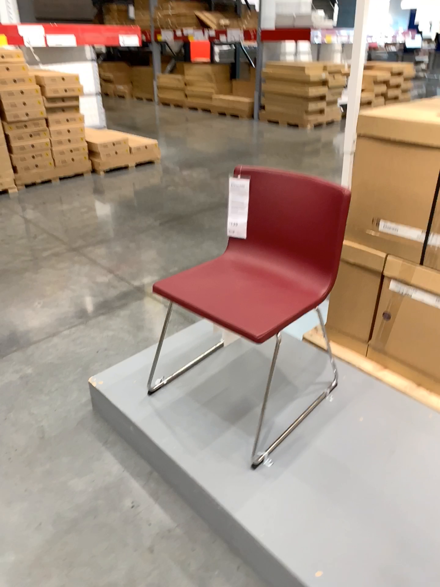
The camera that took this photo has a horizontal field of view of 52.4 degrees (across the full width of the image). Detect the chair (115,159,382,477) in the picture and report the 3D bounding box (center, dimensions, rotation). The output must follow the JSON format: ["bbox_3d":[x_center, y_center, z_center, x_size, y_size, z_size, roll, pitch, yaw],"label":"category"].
[{"bbox_3d":[0.088,0.024,1.451,0.531,0.726,0.552,24,37,36],"label":"chair"}]
